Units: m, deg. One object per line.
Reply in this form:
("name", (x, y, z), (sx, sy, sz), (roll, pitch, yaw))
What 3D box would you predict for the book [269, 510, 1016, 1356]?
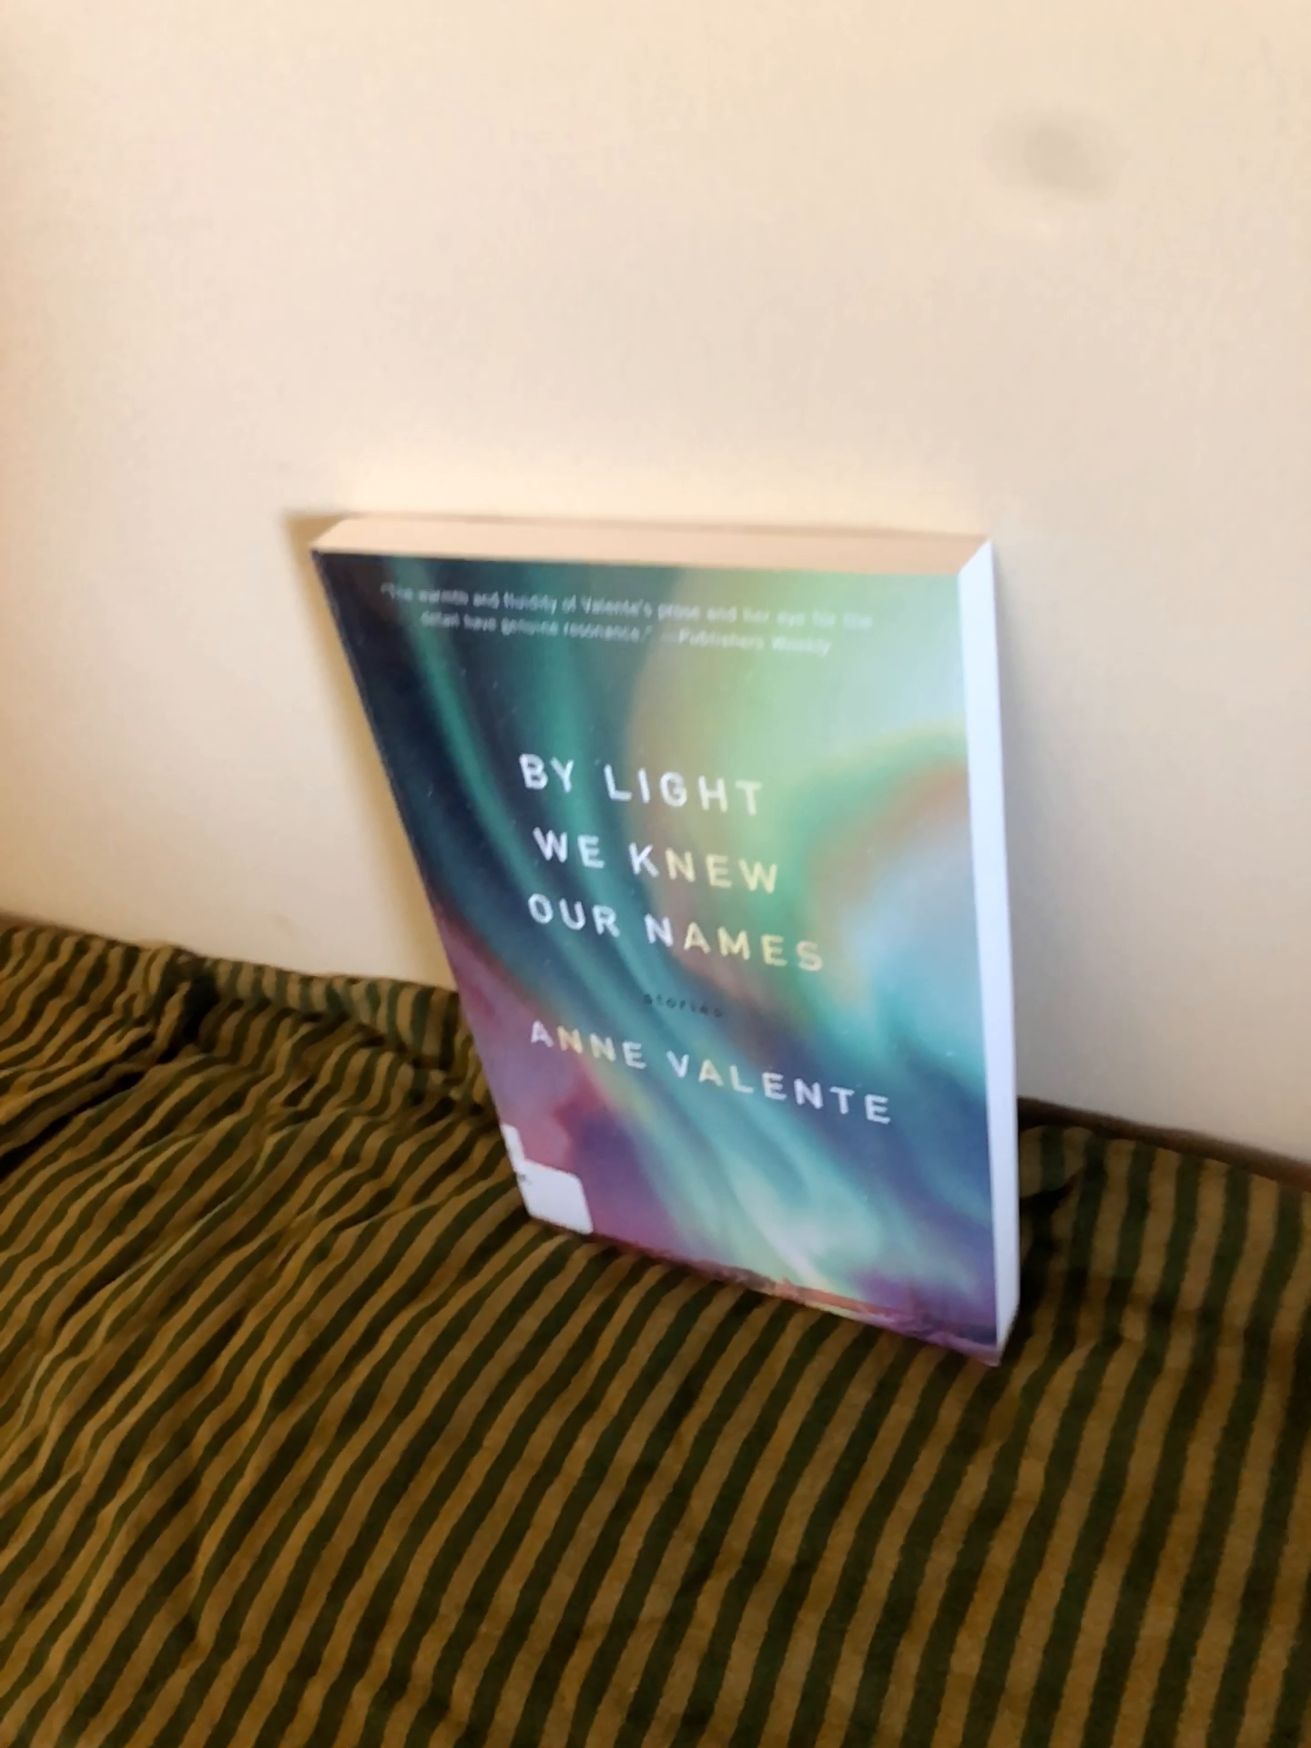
("book", (0.009, 0.024, 0.339), (0.142, 0.223, 0.020), (8, 44, 24))
